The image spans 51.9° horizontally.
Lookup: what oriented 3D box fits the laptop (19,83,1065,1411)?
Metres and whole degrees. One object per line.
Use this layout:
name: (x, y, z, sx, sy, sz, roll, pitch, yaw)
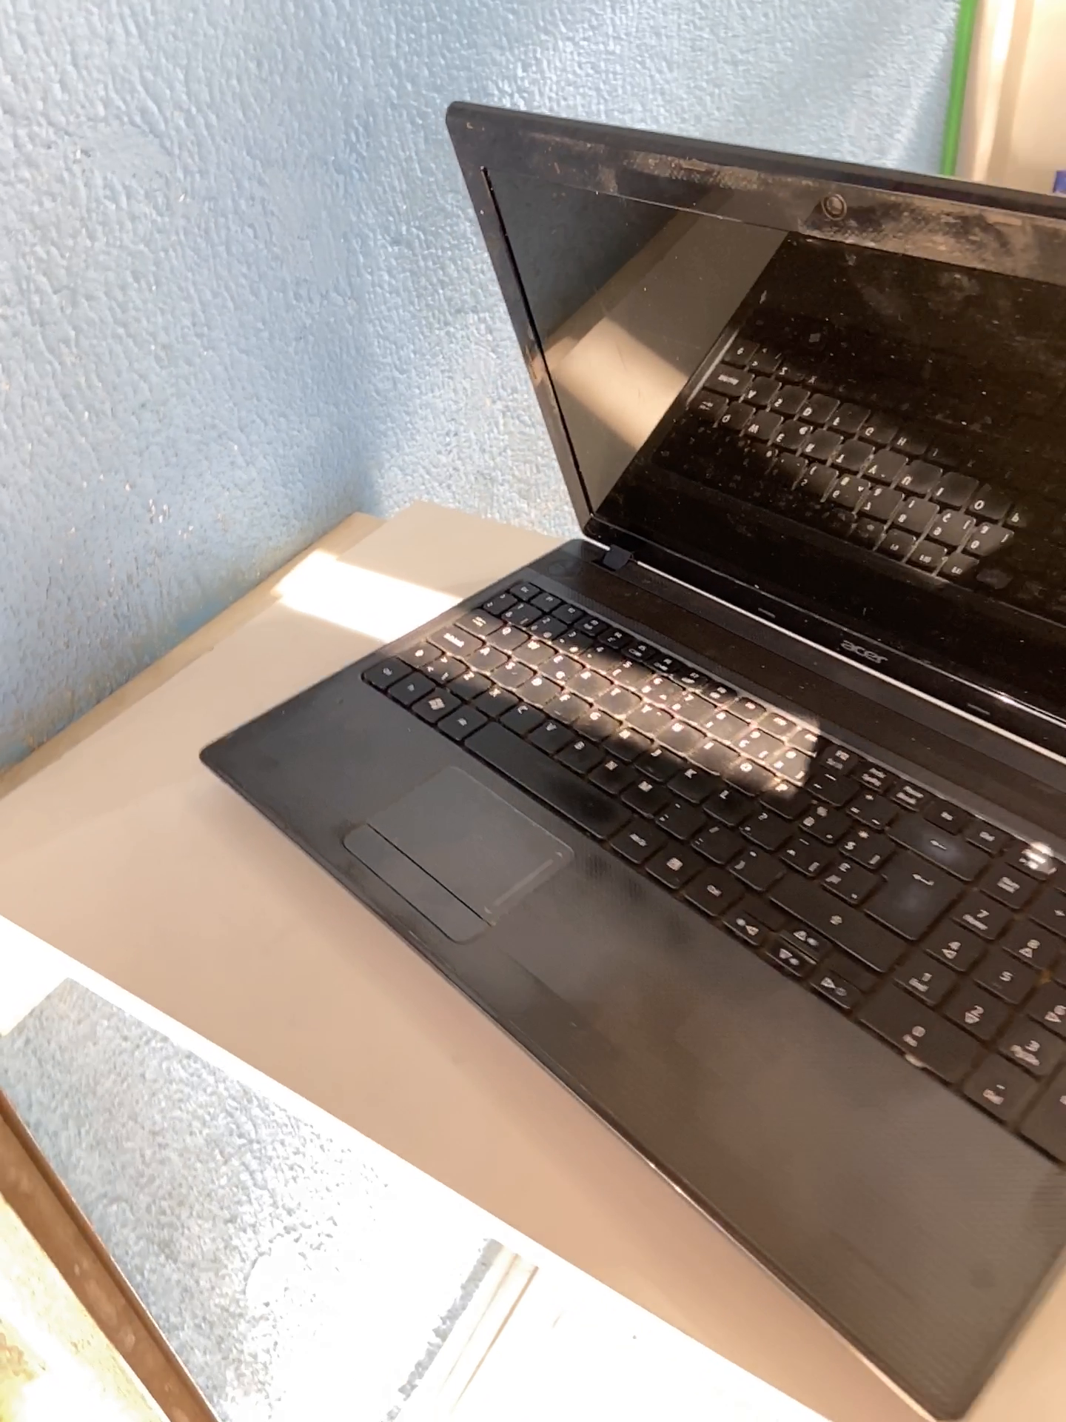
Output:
laptop: (0.057, -0.051, 0.388, 0.254, 0.234, 0.375, -33, 46, -30)
